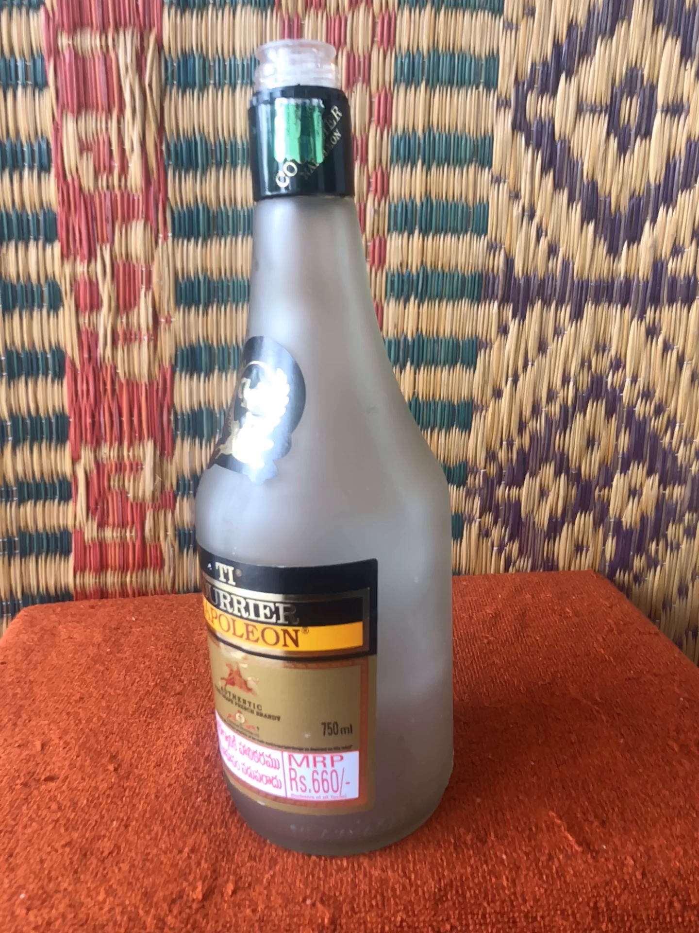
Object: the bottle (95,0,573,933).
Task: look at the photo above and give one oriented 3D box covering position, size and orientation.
[{"bbox_3d":[-0.004,-0.002,0.252,0.090,0.249,0.100,-16,22,-41],"label":"bottle"}]
